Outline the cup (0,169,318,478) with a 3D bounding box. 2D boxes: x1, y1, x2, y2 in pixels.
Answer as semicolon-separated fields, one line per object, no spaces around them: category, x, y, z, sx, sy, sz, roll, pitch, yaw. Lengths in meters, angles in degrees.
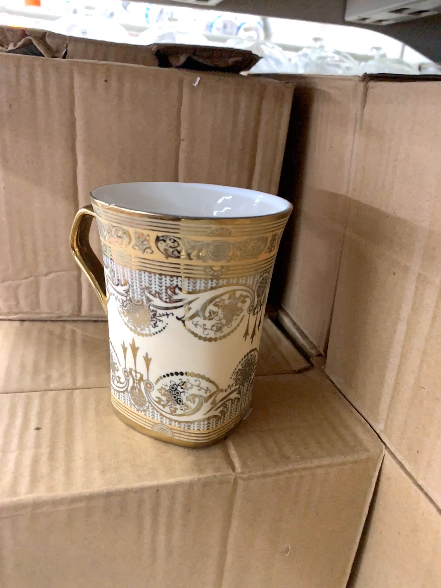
cup;-0.027;0.000;0.207;0.110;0.089;0.080;14;25;26
